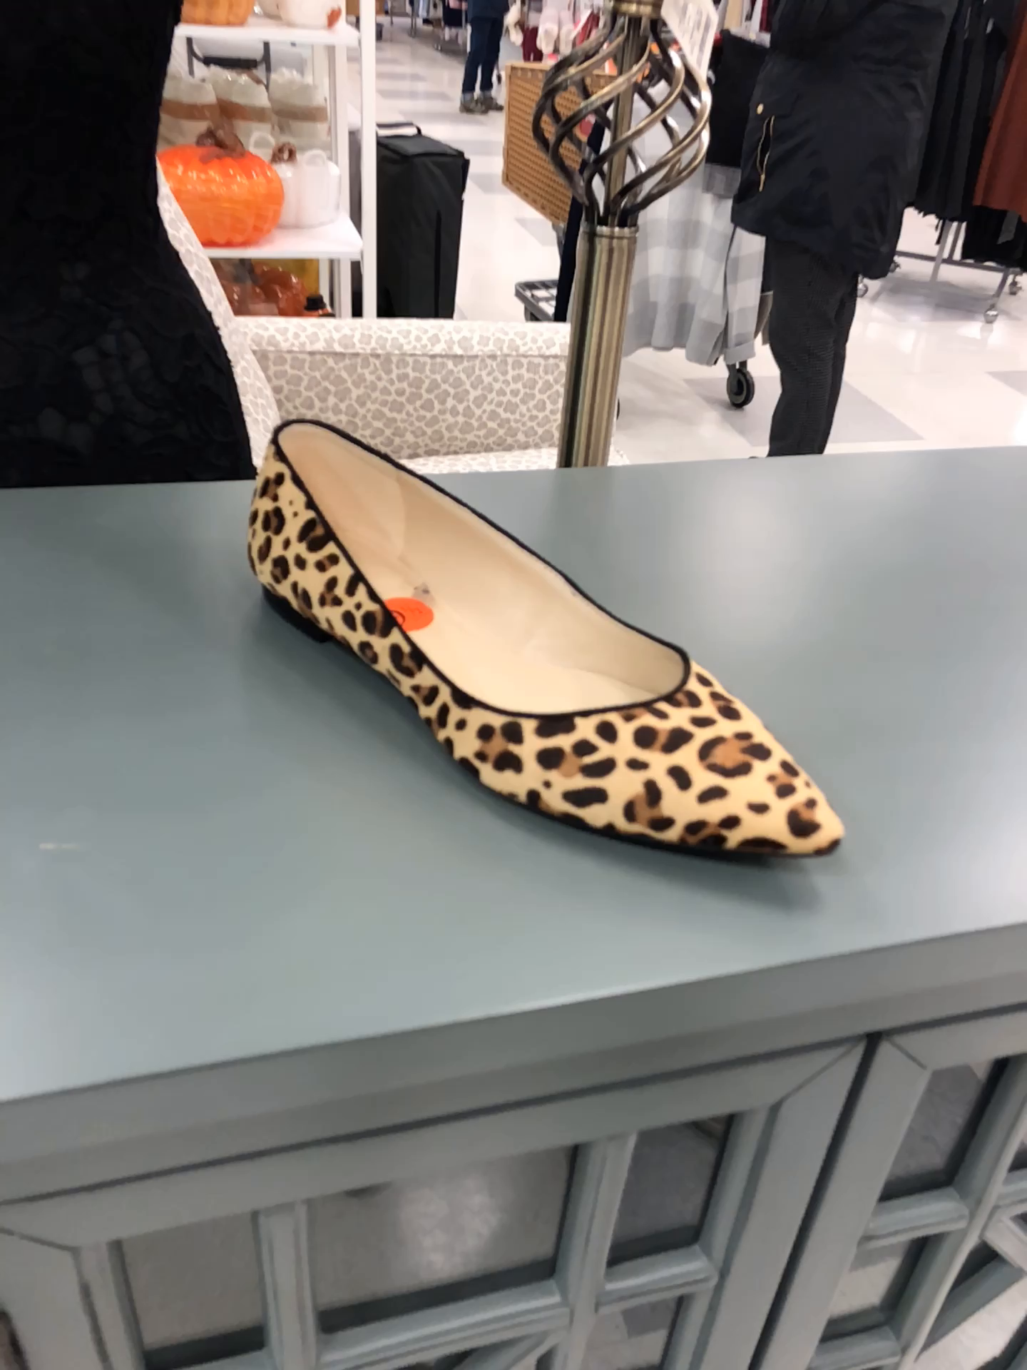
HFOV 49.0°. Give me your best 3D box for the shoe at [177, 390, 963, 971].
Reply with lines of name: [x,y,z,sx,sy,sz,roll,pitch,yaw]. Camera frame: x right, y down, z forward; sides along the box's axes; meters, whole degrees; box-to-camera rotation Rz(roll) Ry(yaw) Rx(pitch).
shoe: [0.001,-0.024,0.419,0.286,0.073,0.097,30,41,33]
